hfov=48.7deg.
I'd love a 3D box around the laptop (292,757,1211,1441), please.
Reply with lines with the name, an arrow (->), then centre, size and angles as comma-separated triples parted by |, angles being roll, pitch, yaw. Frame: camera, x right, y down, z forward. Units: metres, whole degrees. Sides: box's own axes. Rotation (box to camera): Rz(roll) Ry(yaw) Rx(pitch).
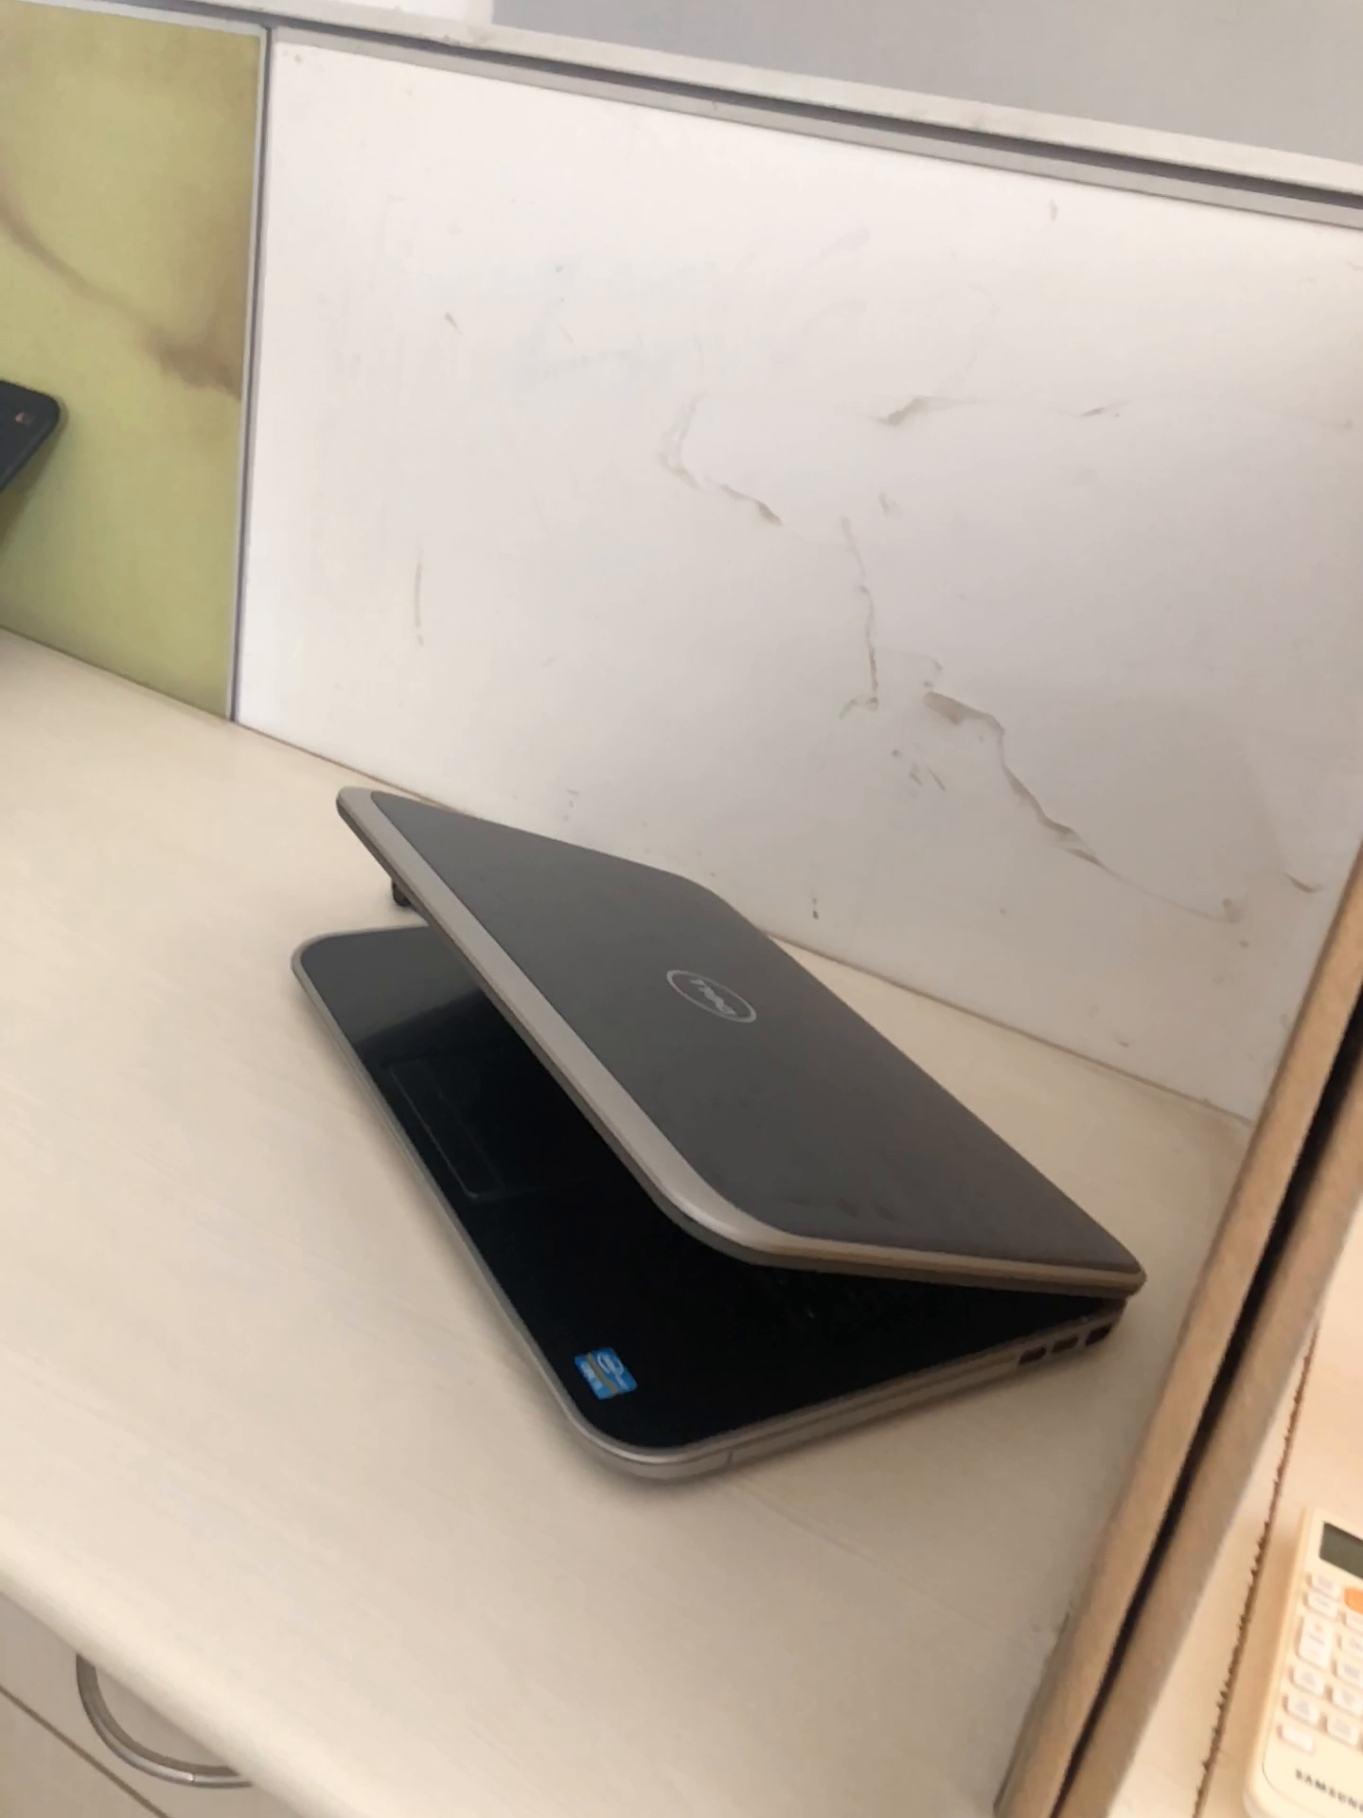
laptop -> 0.002, 0.044, 0.658 | 0.238, 0.094, 0.358 | -3, 28, -31
